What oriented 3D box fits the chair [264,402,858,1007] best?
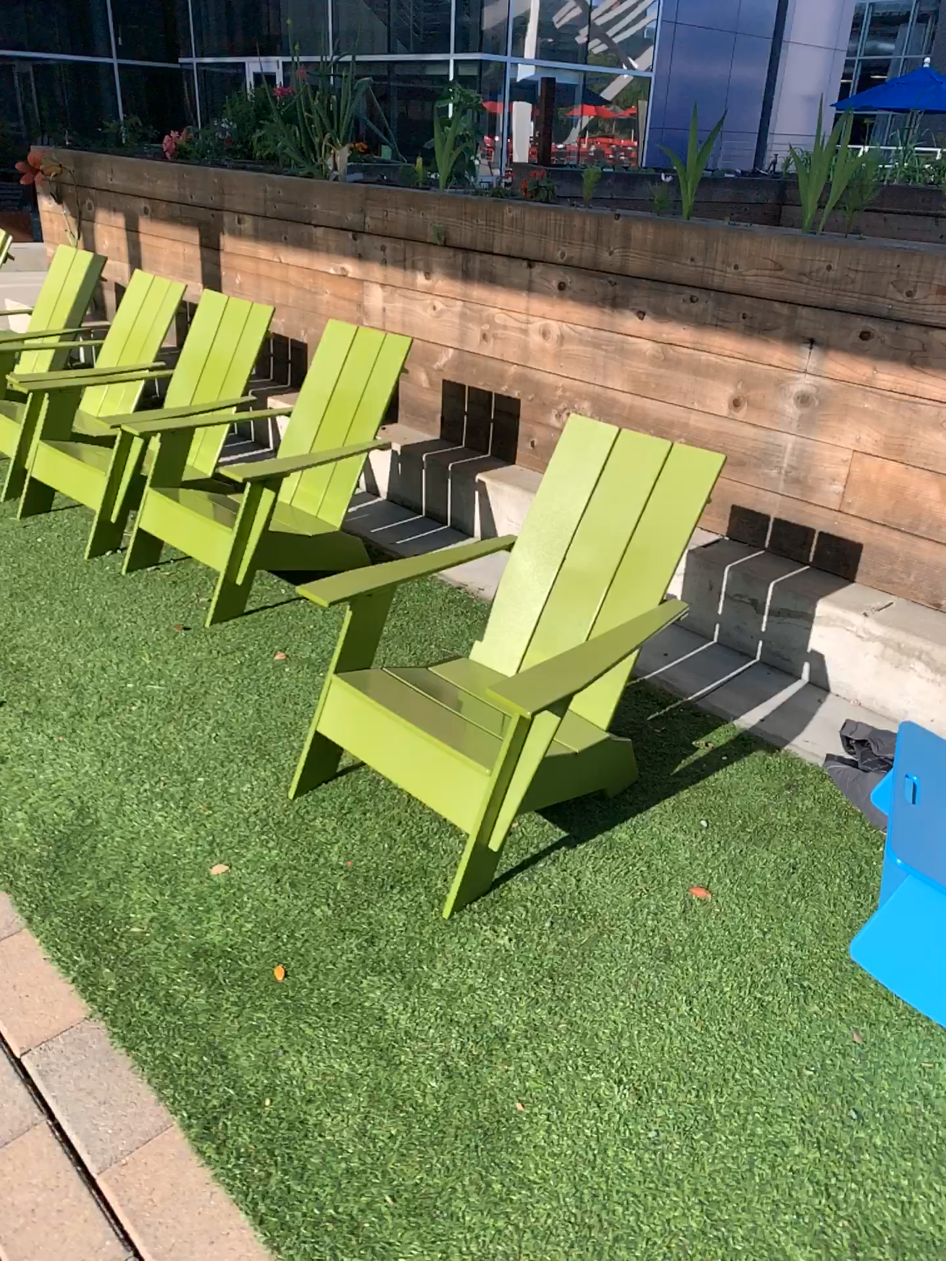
[{"bbox_3d":[0.186,0.059,2.308,1.001,0.895,0.854,-22,36,-38],"label":"chair"}]
